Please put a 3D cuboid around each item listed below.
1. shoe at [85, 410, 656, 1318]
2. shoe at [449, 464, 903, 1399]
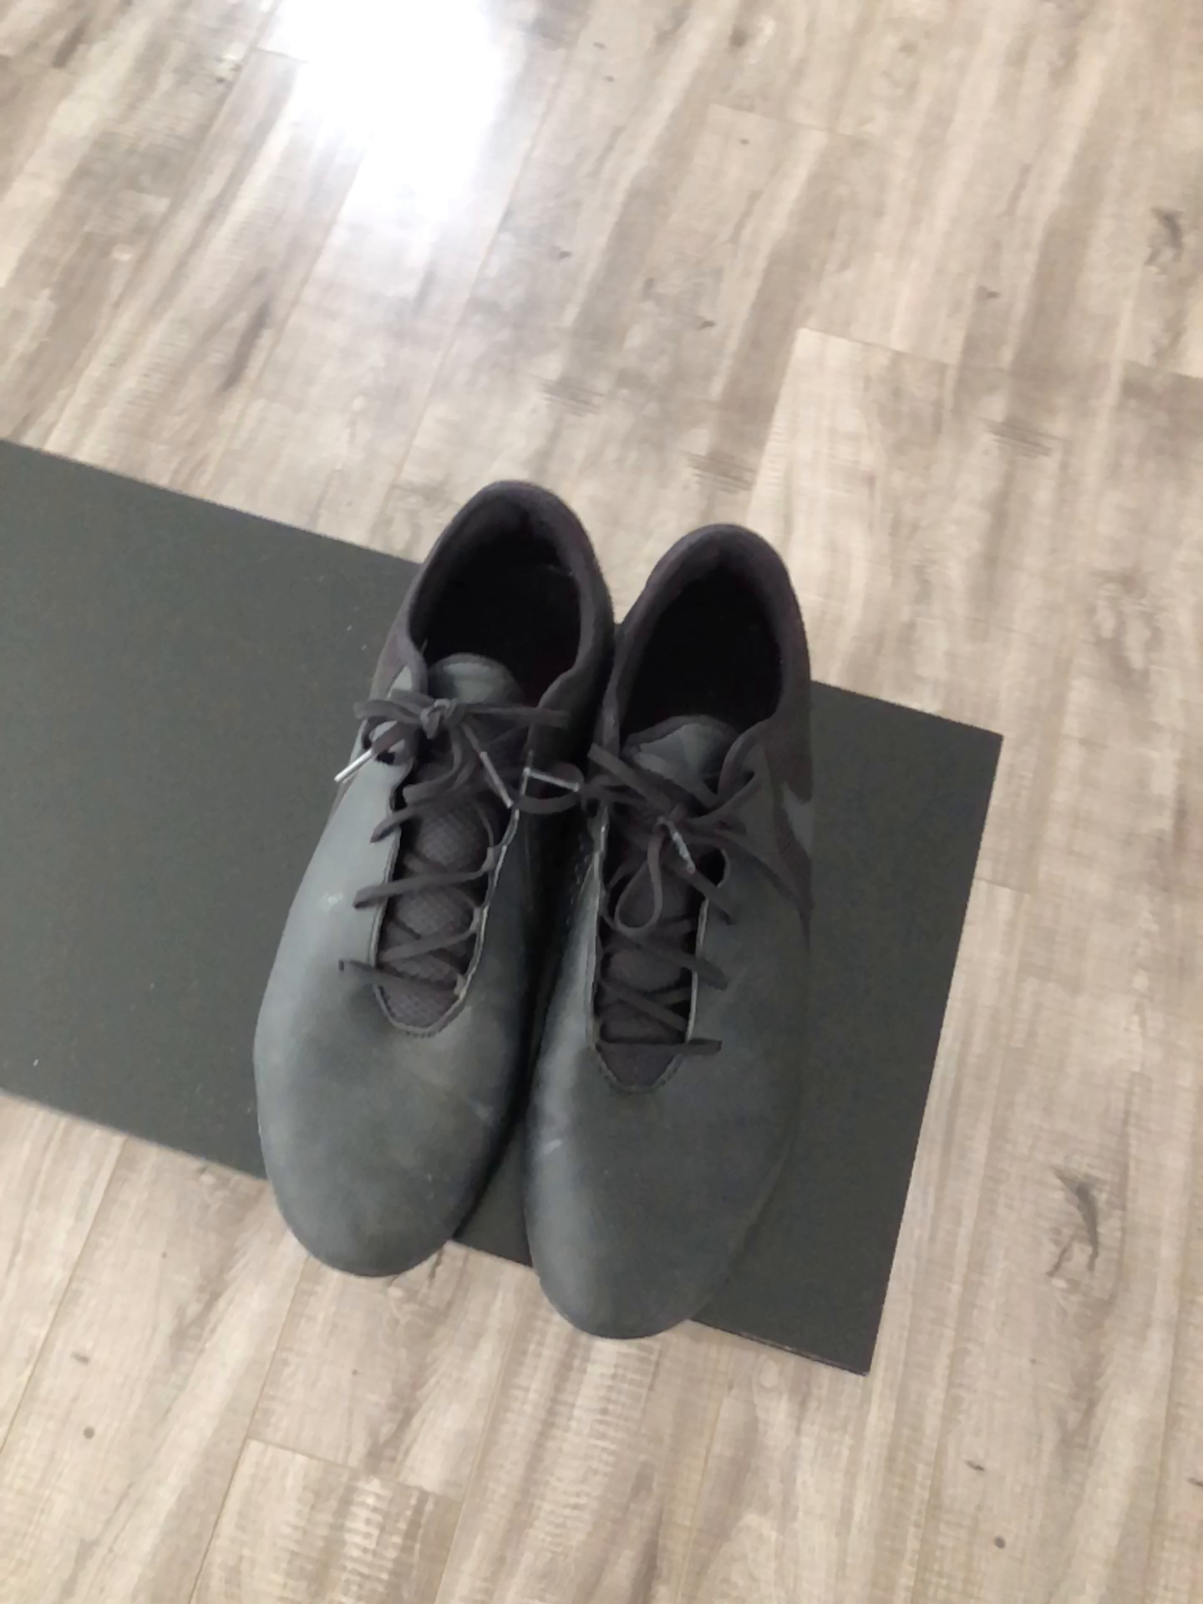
[{"bbox_3d":[-0.066,0.021,0.478,0.100,0.110,0.293,14,68,2],"label":"shoe"},{"bbox_3d":[0.030,0.042,0.470,0.100,0.110,0.293,11,68,1],"label":"shoe"}]
